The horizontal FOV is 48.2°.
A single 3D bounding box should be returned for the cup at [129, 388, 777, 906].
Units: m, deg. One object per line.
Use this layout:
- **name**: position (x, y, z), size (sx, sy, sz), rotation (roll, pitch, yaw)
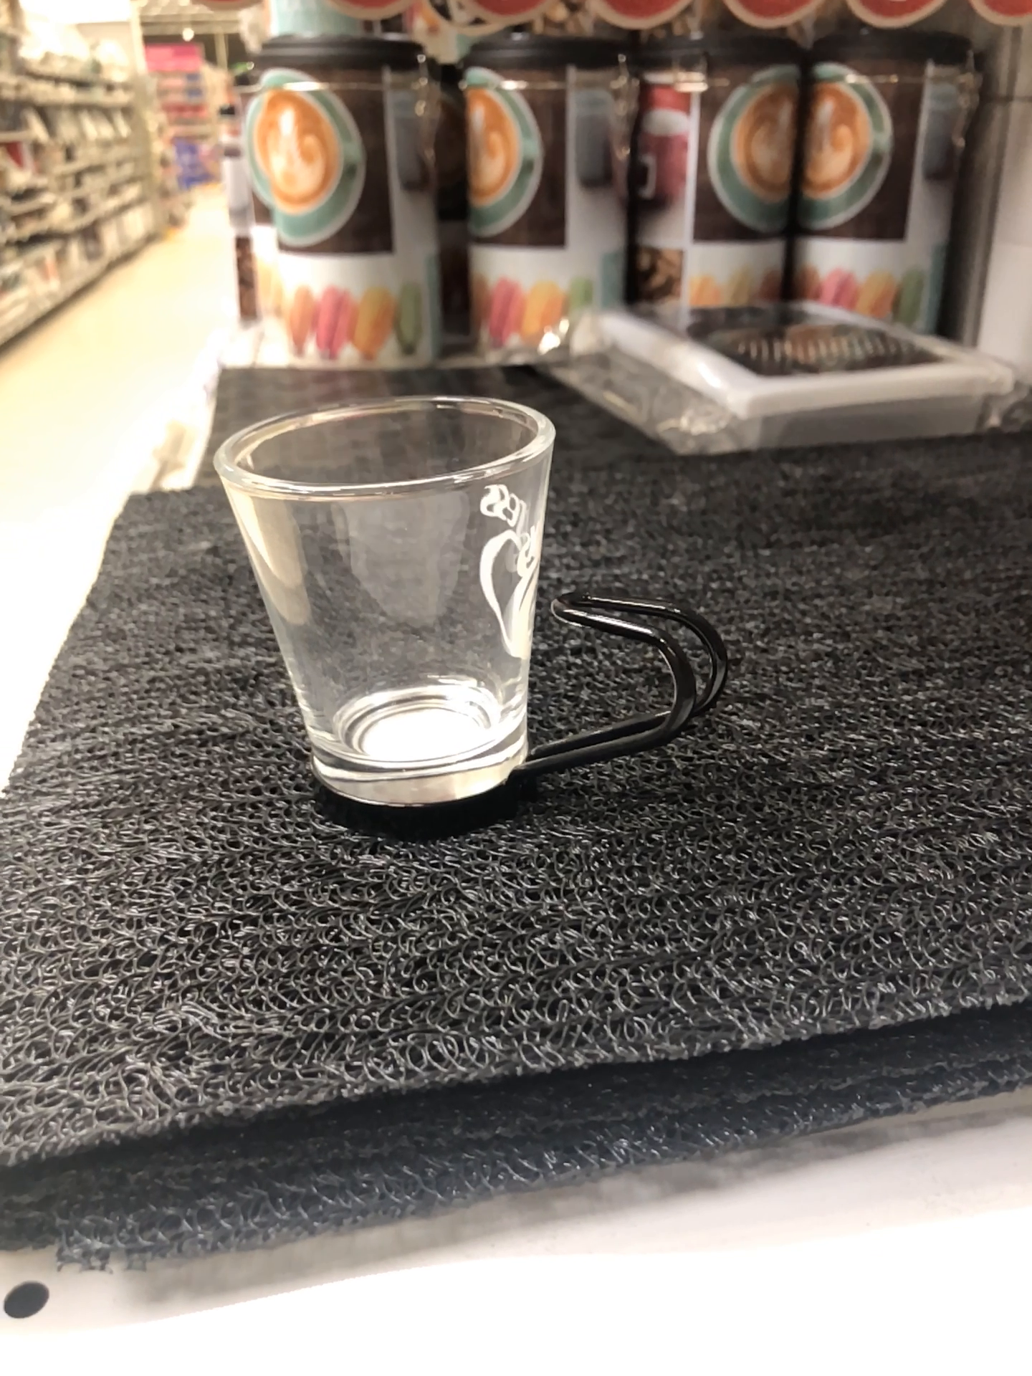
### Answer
- **cup**: position (-0.009, -0.016, 0.213), size (0.087, 0.059, 0.073), rotation (14, 28, 29)
